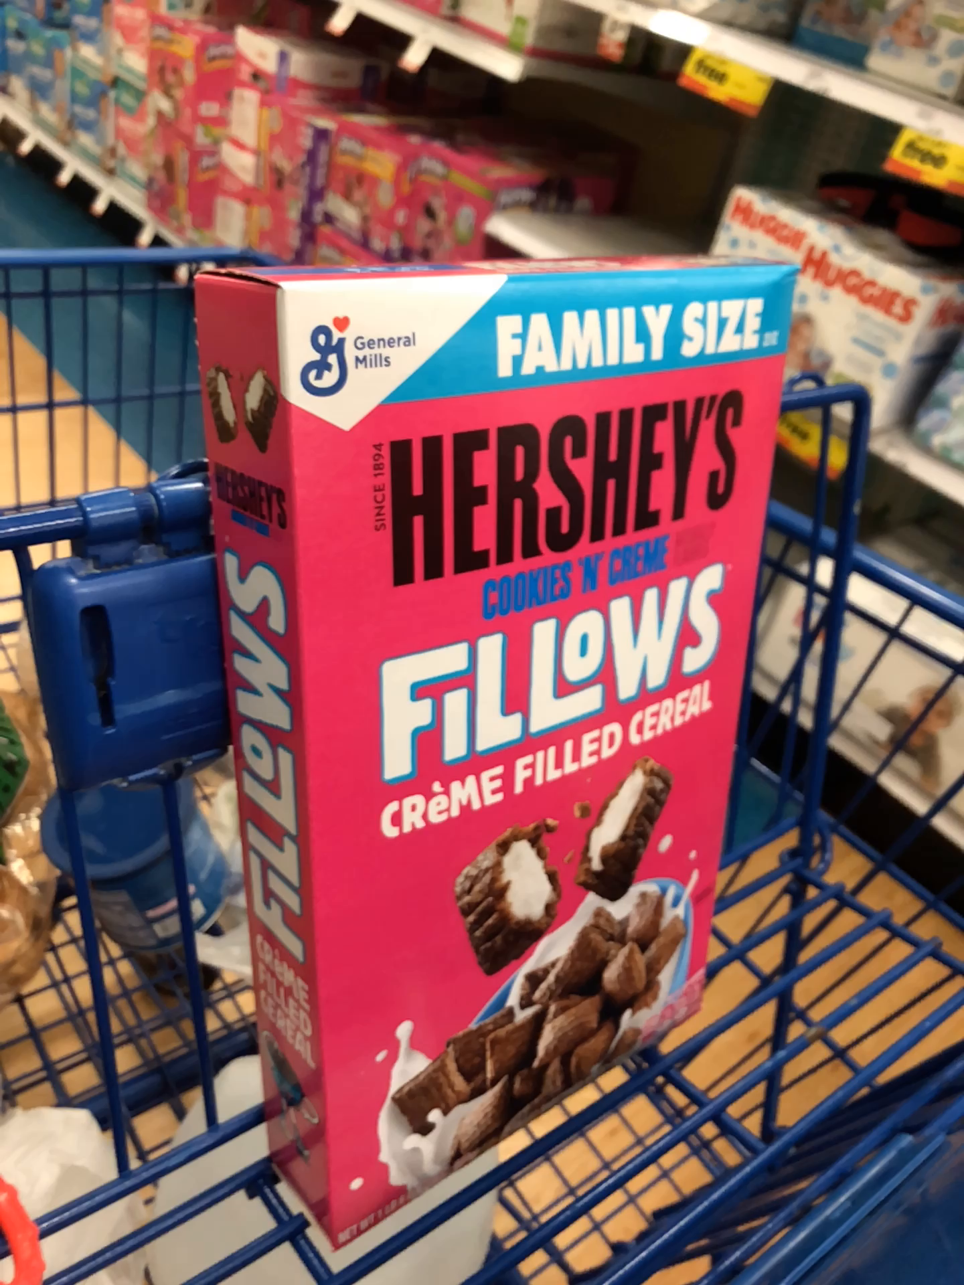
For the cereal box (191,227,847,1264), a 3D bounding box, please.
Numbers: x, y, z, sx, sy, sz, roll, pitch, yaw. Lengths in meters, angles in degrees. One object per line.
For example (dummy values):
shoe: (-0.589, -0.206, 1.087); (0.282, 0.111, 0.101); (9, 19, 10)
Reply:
cereal box: (0.021, 0.022, 0.363); (0.200, 0.299, 0.060); (-16, 26, -37)
